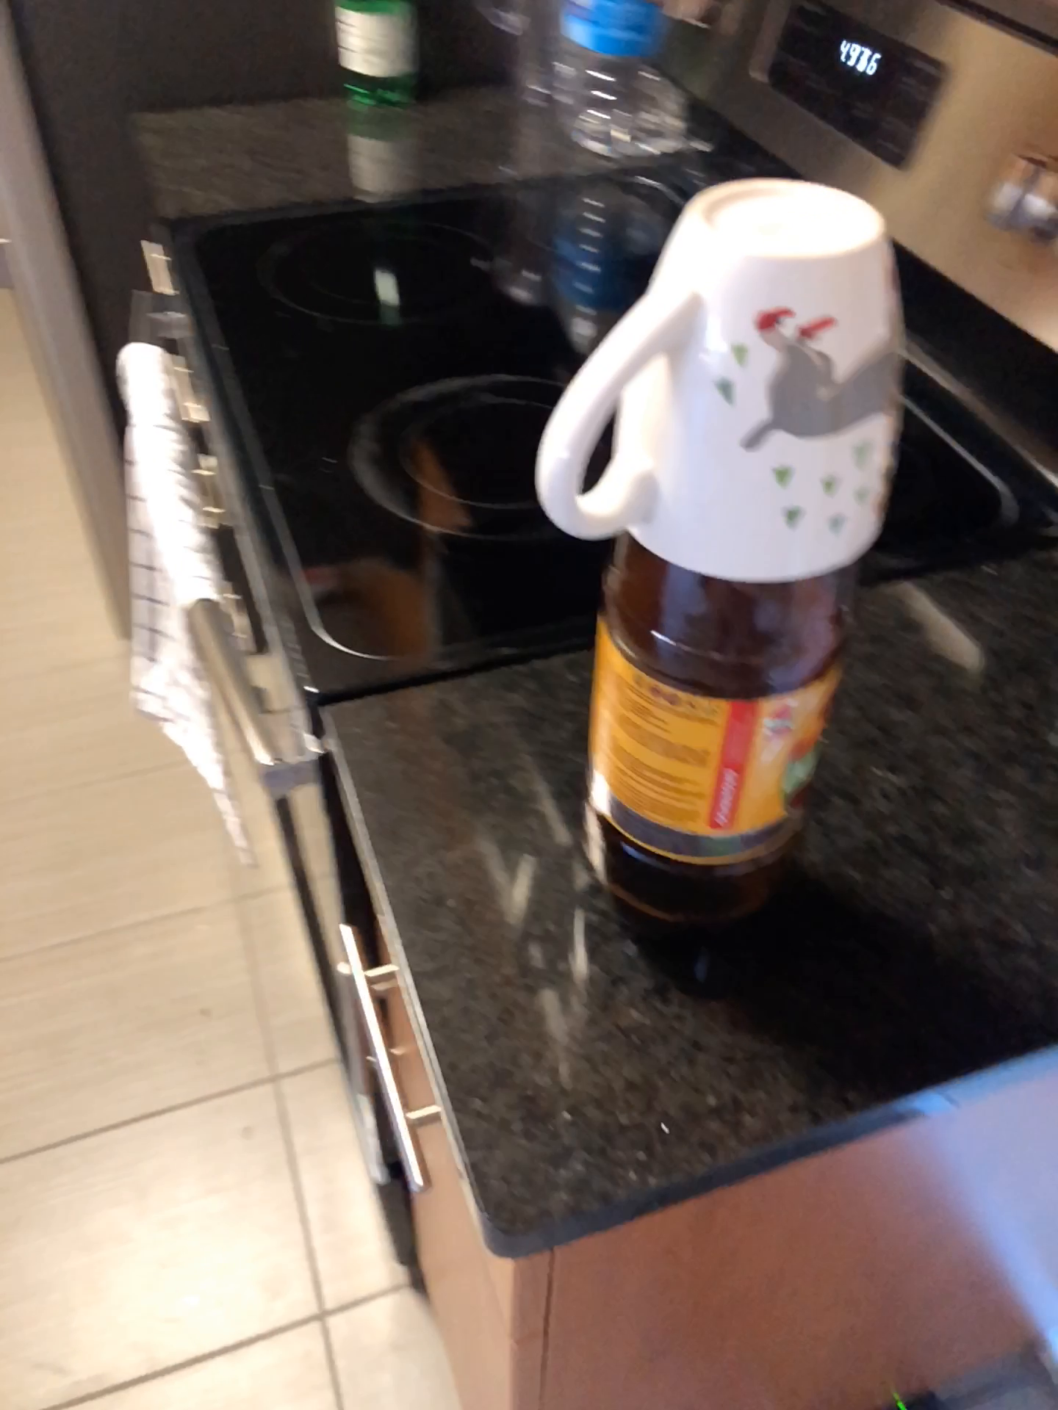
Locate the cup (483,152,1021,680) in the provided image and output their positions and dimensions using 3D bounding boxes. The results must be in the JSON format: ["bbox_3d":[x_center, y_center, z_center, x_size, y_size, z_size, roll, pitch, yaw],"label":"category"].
[{"bbox_3d":[0.071,-0.106,0.406,0.140,0.110,0.100,-30,53,-30],"label":"cup"}]
